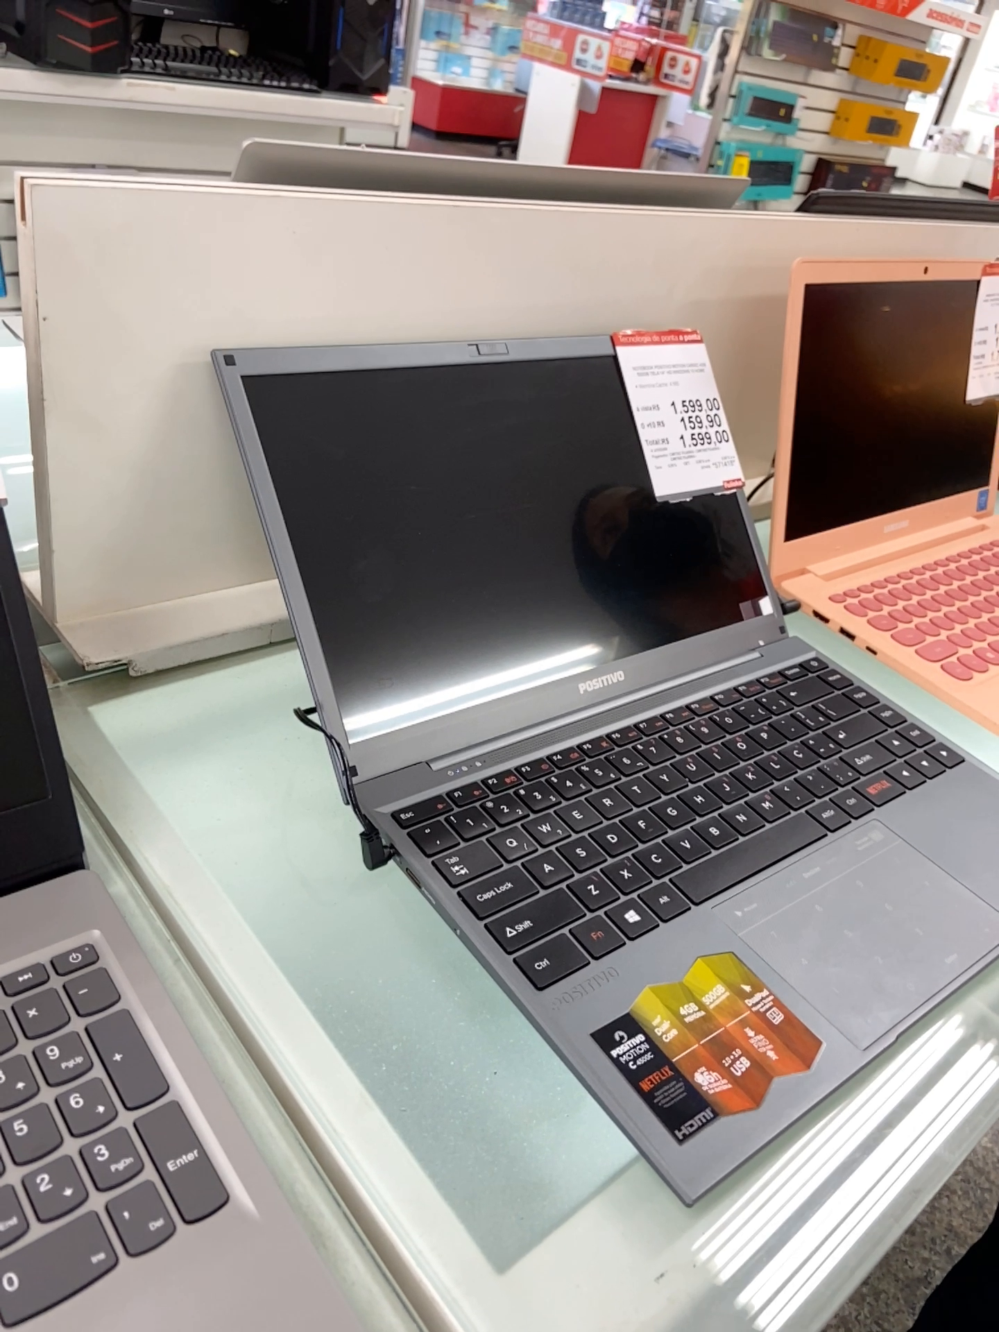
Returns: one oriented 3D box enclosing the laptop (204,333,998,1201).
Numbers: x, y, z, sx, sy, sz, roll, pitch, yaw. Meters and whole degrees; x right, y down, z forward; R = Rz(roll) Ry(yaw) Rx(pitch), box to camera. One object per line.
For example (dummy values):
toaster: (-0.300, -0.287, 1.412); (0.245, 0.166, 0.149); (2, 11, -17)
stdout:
laptop: (0.094, -0.023, 0.500); (0.335, 0.144, 0.367); (-15, 43, -36)
